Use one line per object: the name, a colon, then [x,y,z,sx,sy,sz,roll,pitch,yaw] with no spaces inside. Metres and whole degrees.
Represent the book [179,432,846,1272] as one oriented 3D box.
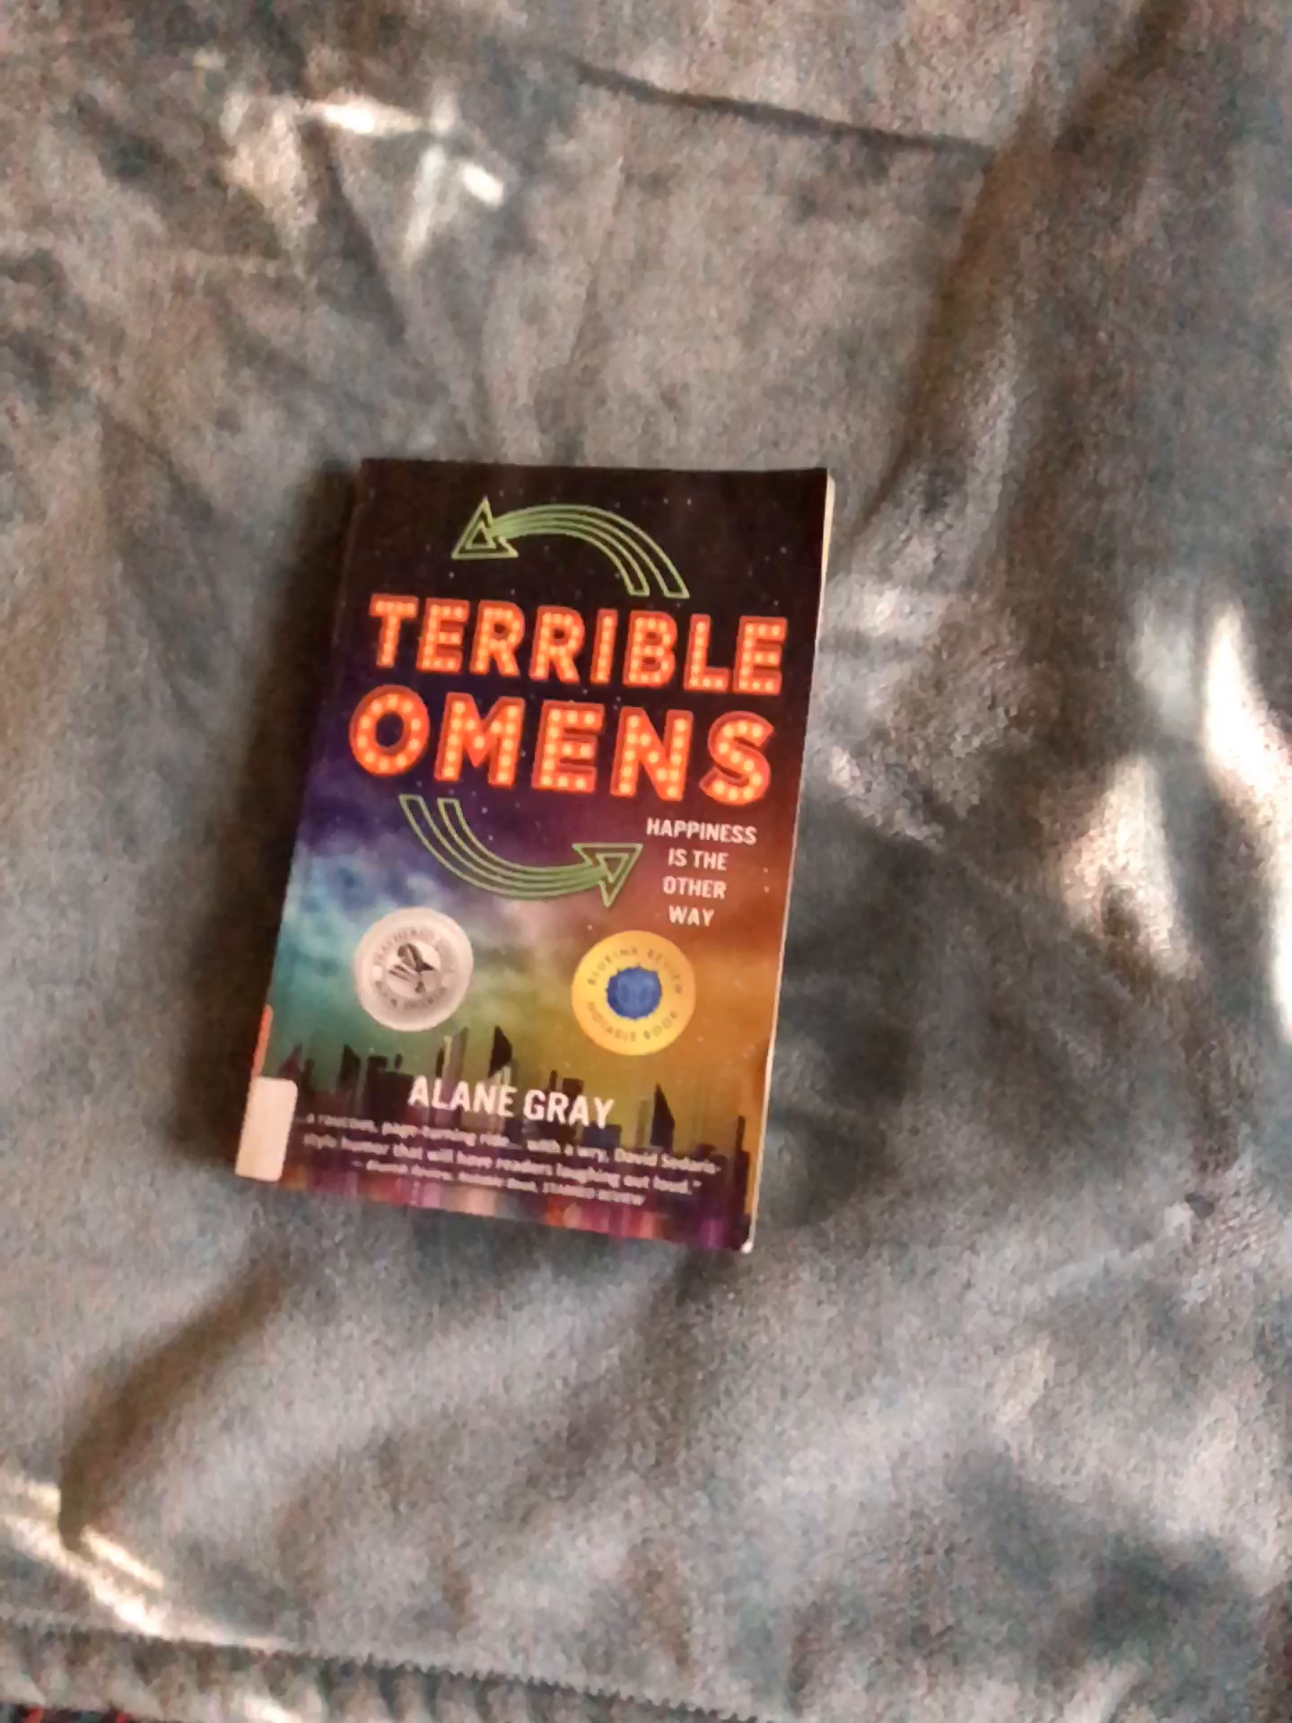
book: [-0.029,-0.008,0.366,0.140,0.028,0.200,5,78,9]
